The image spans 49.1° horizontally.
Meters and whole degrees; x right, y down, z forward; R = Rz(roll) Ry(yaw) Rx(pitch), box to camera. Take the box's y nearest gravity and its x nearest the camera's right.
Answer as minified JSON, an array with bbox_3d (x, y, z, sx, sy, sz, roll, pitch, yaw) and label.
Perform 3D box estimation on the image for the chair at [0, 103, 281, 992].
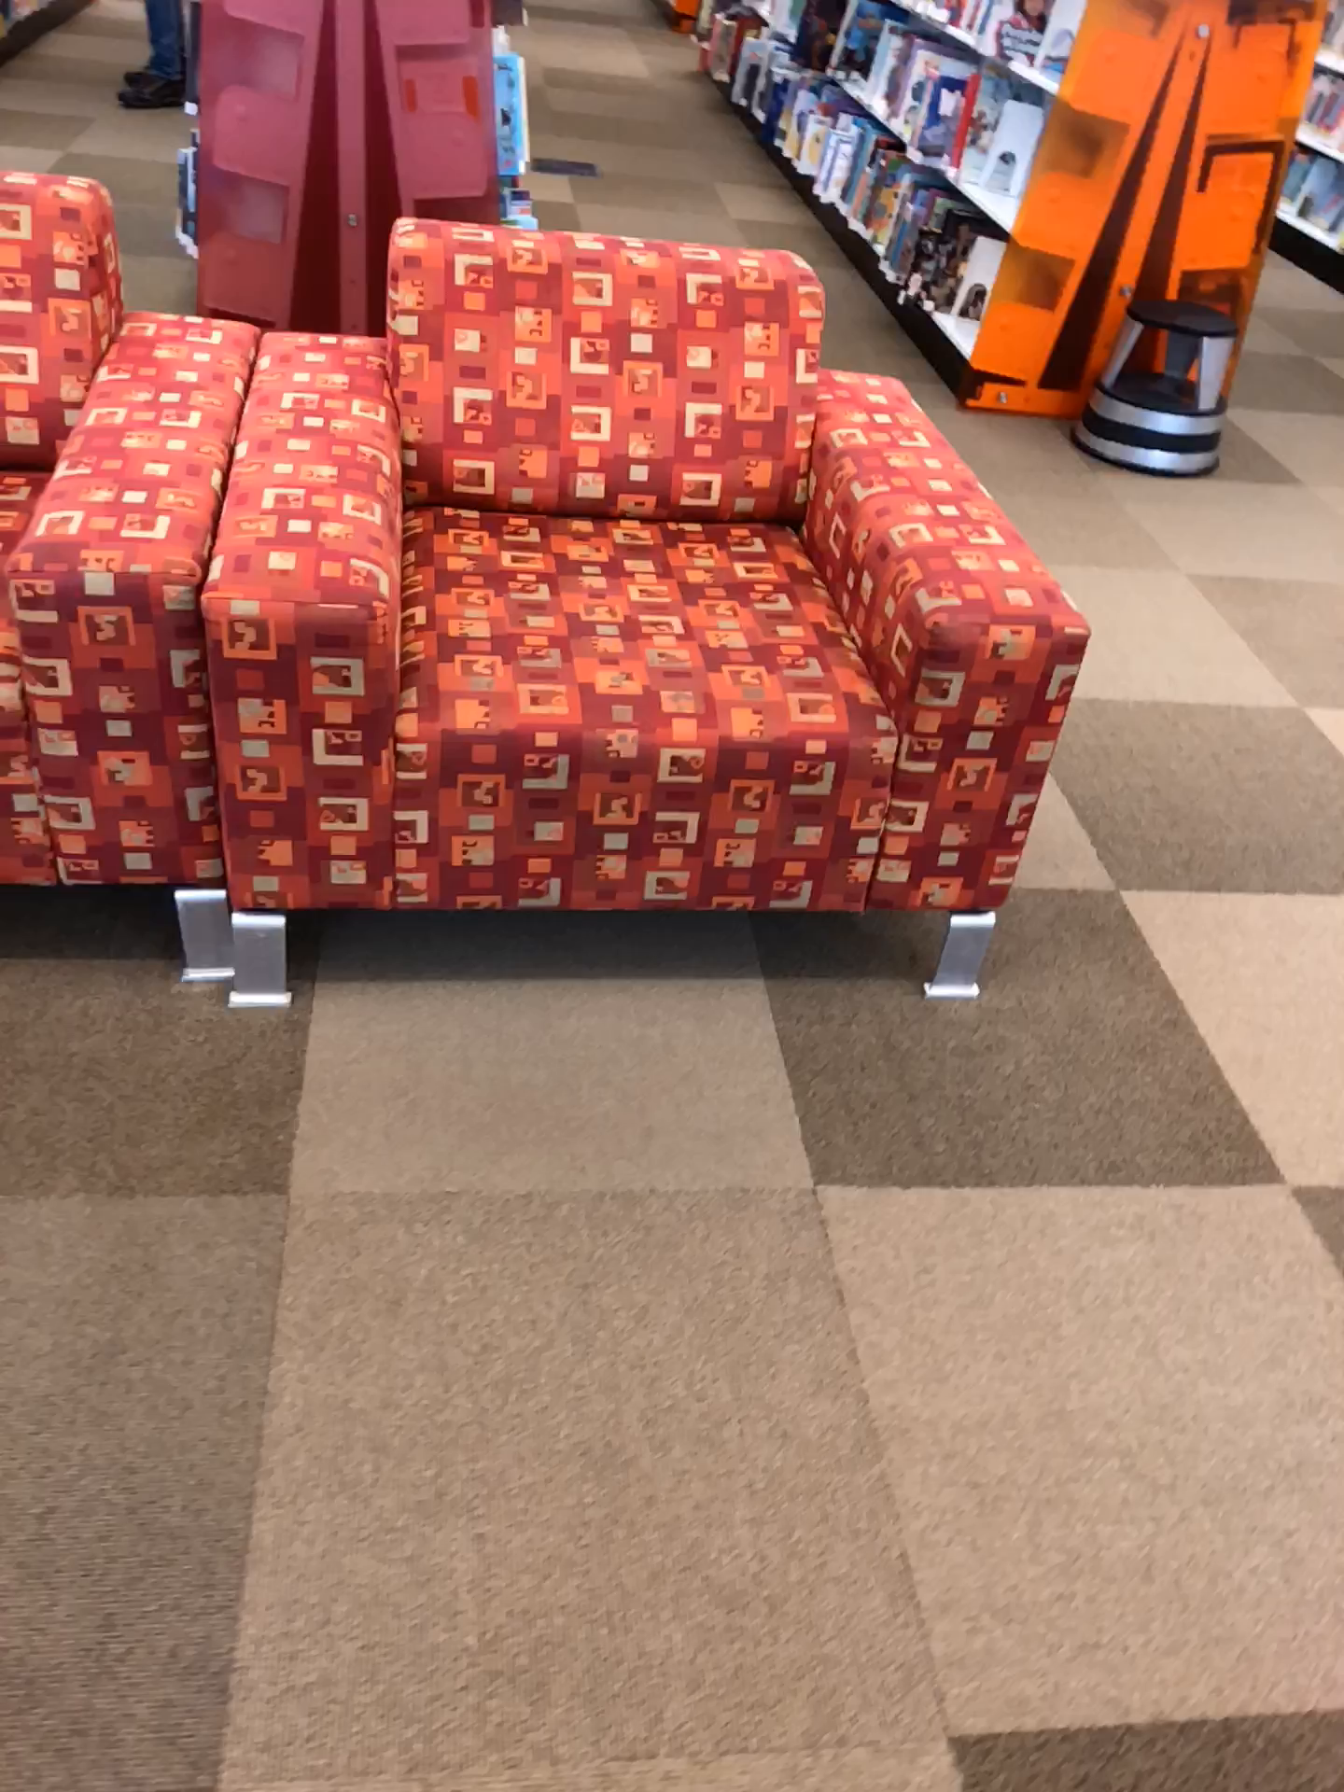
[{"bbox_3d":[-1.015,-0.465,1.853,0.919,0.716,0.956,1,37,-10],"label":"chair"}]

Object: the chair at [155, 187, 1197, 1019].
[{"bbox_3d":[-0.072,-0.426,1.987,1.002,0.686,0.996,1,37,-10],"label":"chair"}]
